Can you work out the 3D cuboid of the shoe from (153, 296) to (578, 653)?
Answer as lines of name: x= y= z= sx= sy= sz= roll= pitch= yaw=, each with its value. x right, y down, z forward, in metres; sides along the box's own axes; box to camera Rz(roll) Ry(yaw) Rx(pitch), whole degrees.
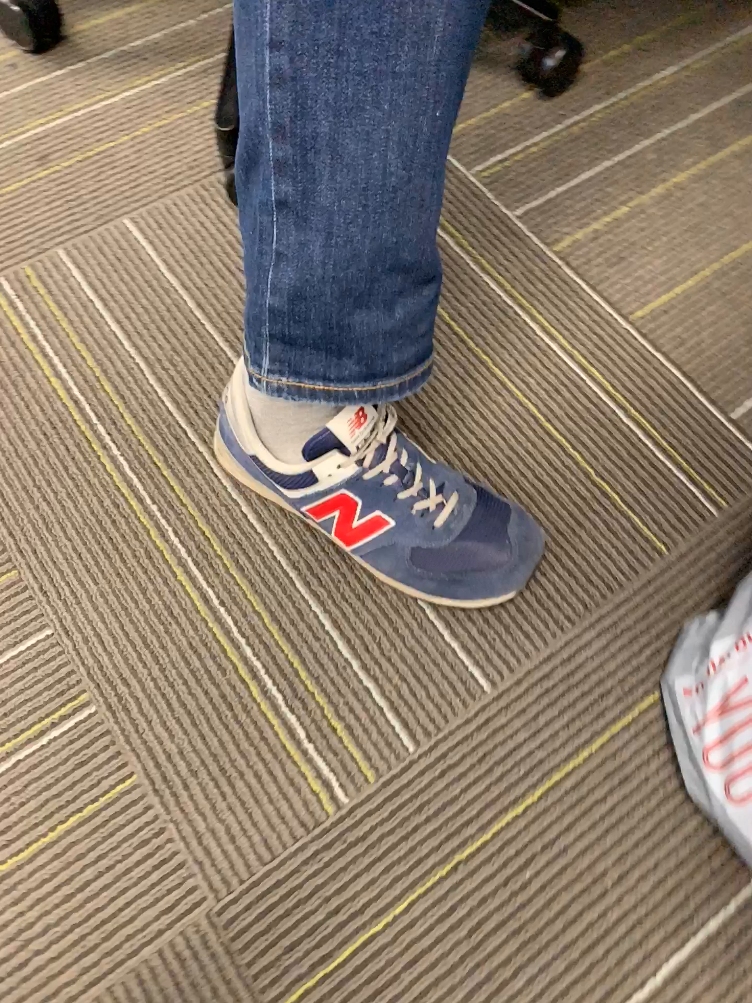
shoe: x=-0.014 y=-0.020 z=0.636 sx=0.307 sy=0.139 sz=0.108 roll=31 pitch=68 yaw=12
